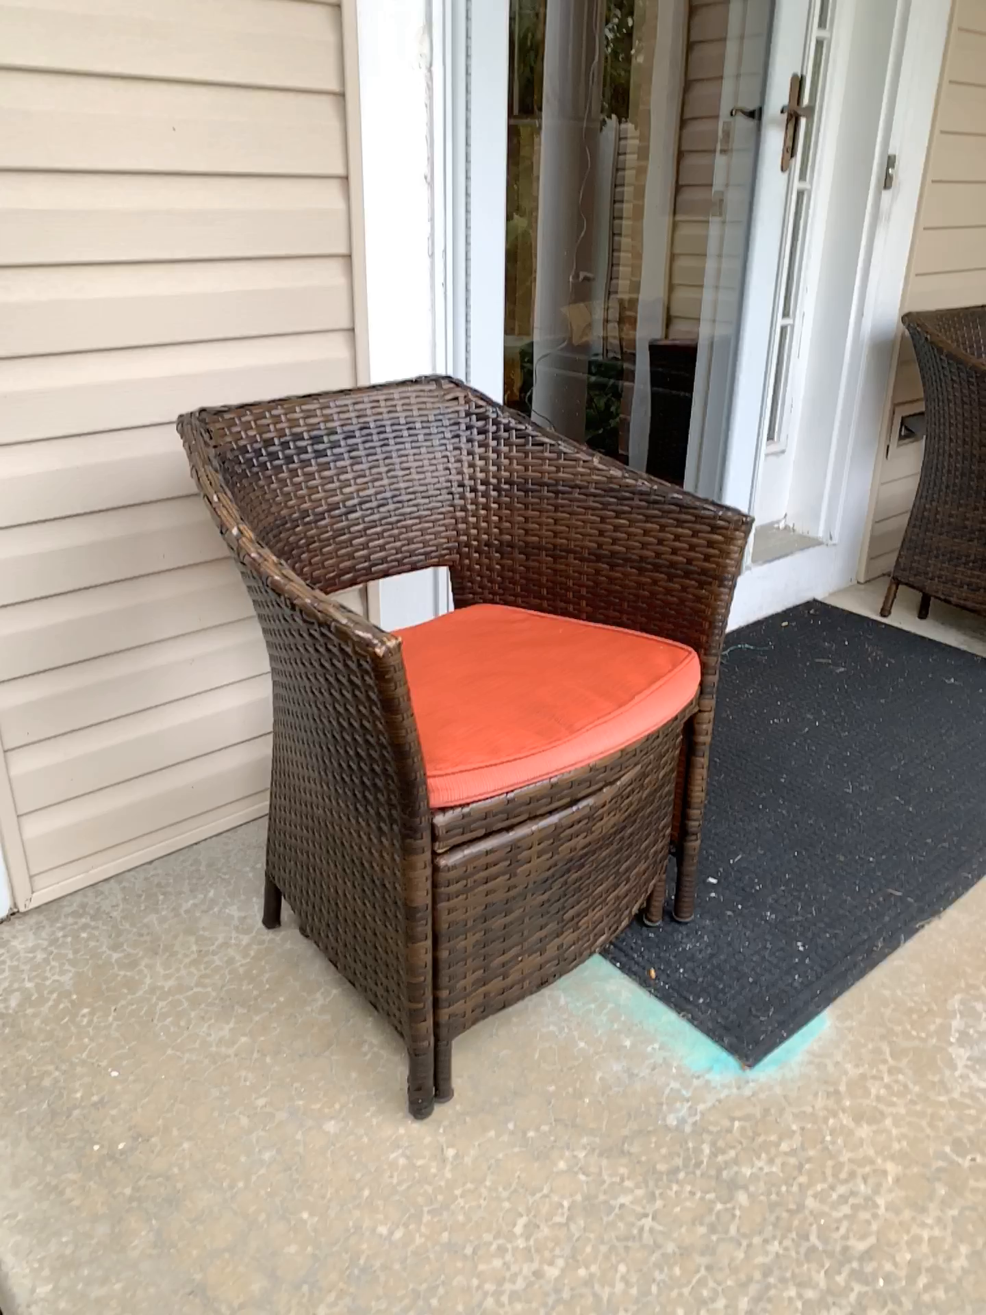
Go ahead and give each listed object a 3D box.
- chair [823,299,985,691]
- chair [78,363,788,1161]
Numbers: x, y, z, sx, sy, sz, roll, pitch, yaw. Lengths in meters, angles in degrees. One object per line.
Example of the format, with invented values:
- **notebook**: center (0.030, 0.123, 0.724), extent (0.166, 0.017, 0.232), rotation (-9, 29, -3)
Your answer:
- **chair**: center (1.322, -0.452, 2.488), extent (0.643, 0.758, 0.607), rotation (-17, 29, -34)
- **chair**: center (-0.071, 0.044, 1.398), extent (0.606, 0.758, 0.644), rotation (22, 31, 39)
